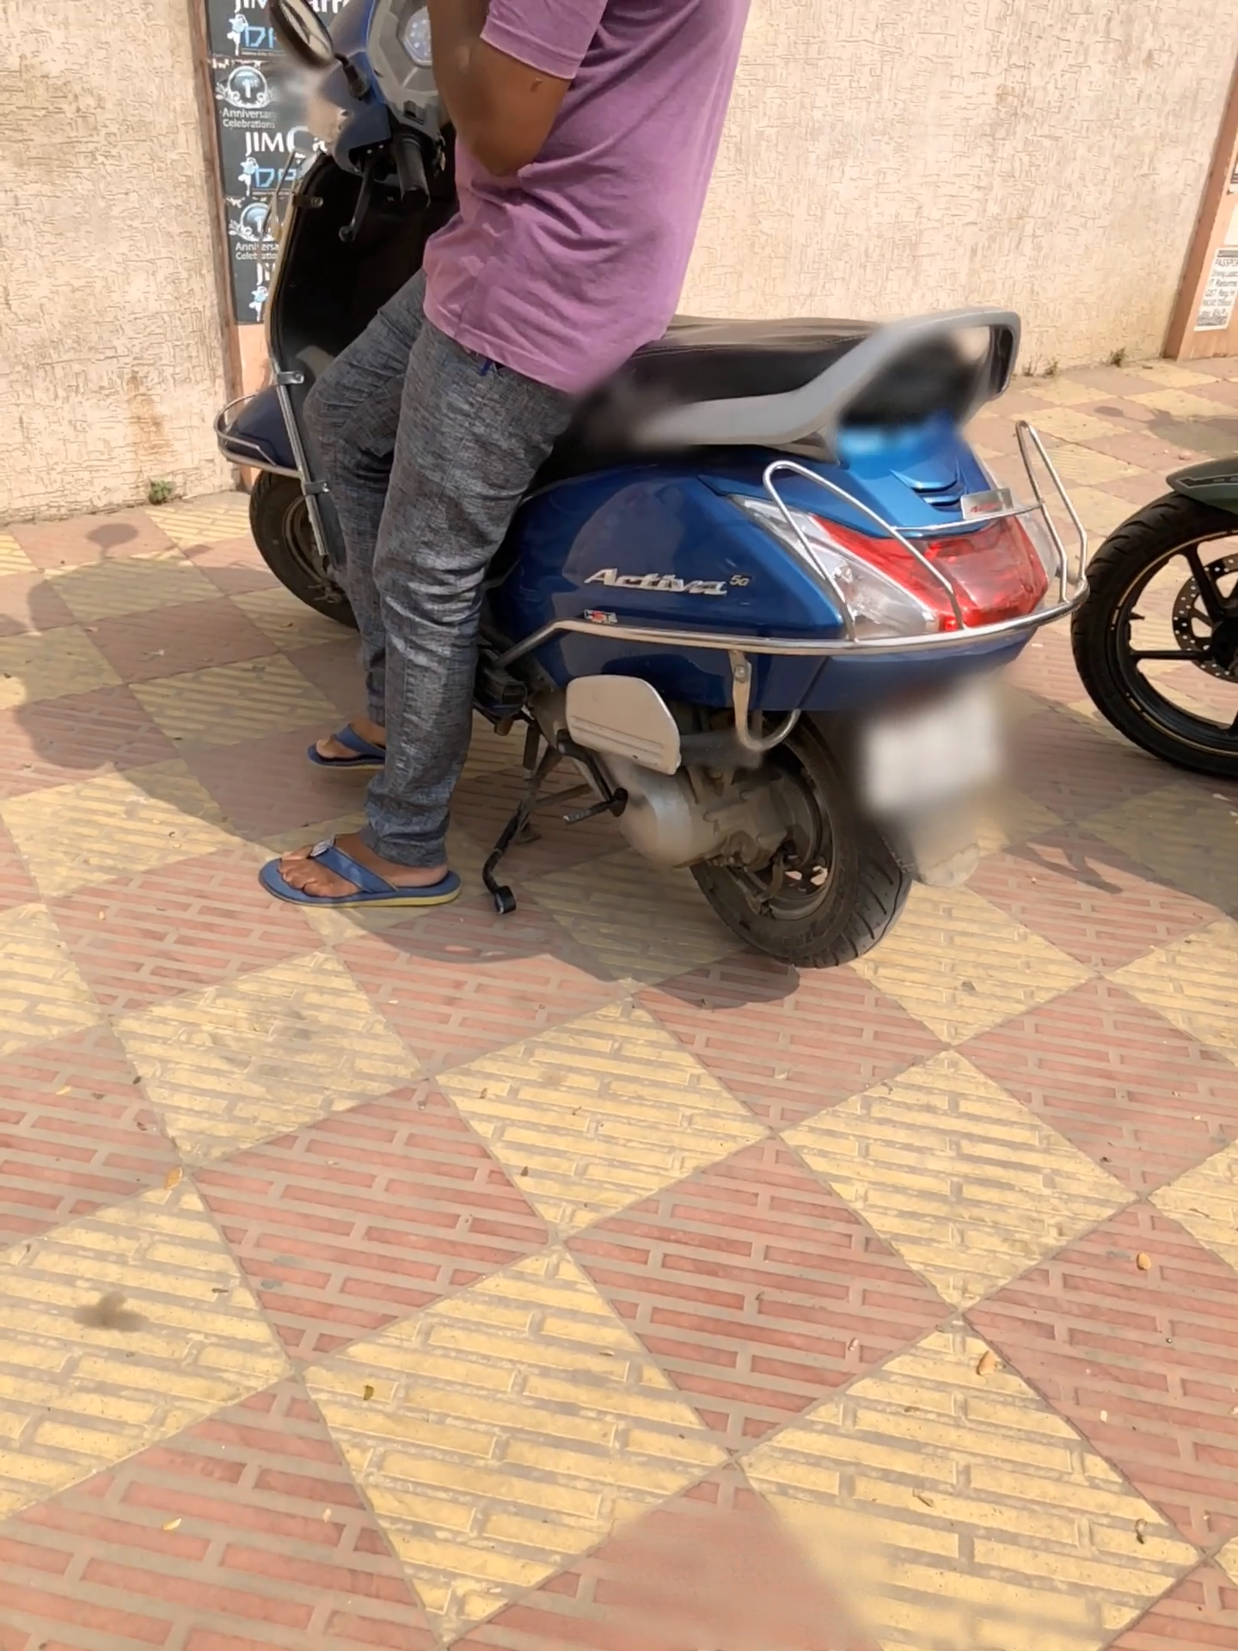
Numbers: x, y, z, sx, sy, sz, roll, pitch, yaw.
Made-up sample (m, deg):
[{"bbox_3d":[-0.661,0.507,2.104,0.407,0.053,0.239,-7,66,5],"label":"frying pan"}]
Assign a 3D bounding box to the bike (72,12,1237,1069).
[{"bbox_3d":[-0.129,-0.606,2.080,0.625,1.037,1.702,-21,39,-35],"label":"bike"}]
